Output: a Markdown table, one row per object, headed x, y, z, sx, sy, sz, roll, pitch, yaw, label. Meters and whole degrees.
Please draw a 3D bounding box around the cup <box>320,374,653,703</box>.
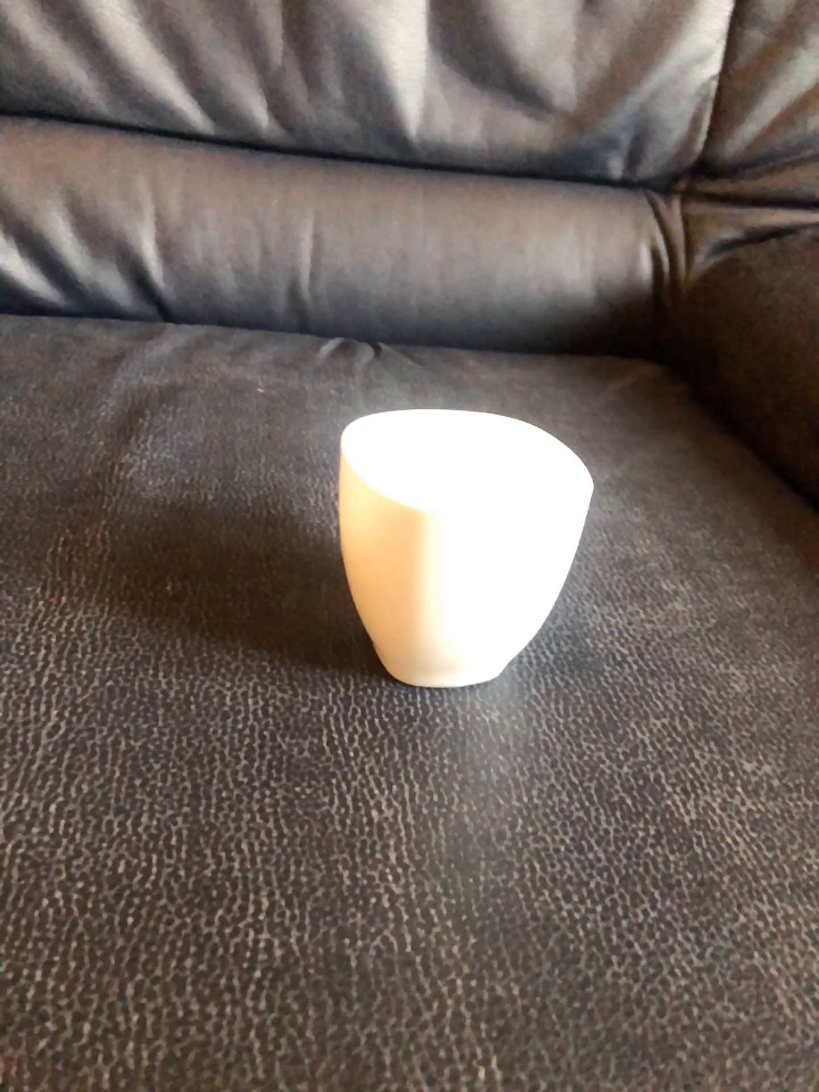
| x | y | z | sx | sy | sz | roll | pitch | yaw | label |
| --- | --- | --- | --- | --- | --- | --- | --- | --- | --- |
| 0.016 | -0.006 | 0.301 | 0.080 | 0.063 | 0.102 | 1 | 31 | -12 | cup |
